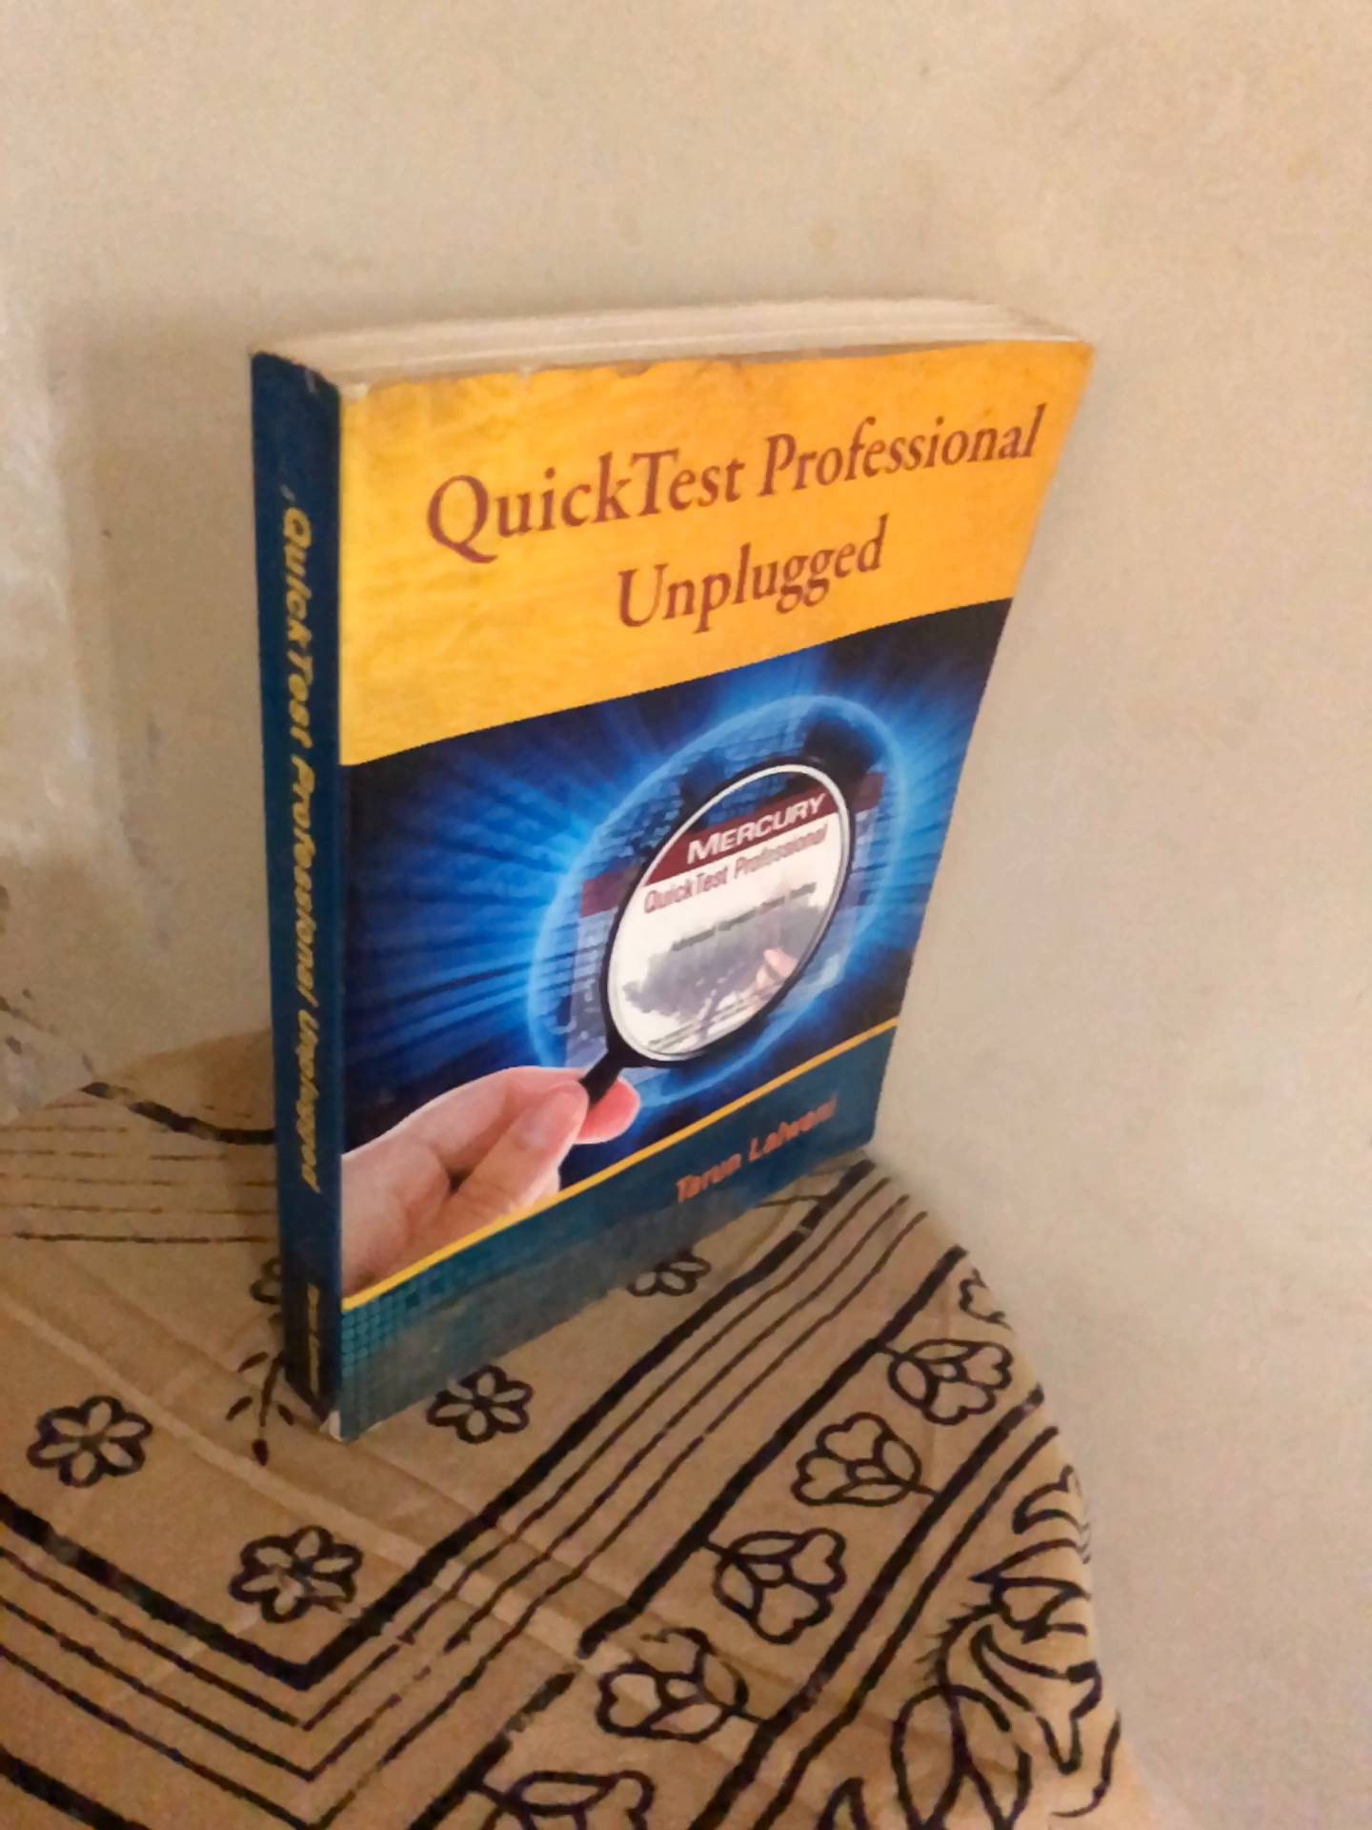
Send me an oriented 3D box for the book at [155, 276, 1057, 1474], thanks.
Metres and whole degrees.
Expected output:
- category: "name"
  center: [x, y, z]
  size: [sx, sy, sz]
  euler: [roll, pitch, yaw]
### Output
- category: "book"
  center: [-0.020, -0.015, 0.393]
  size: [0.211, 0.269, 0.050]
  euler: [-18, 39, -39]
